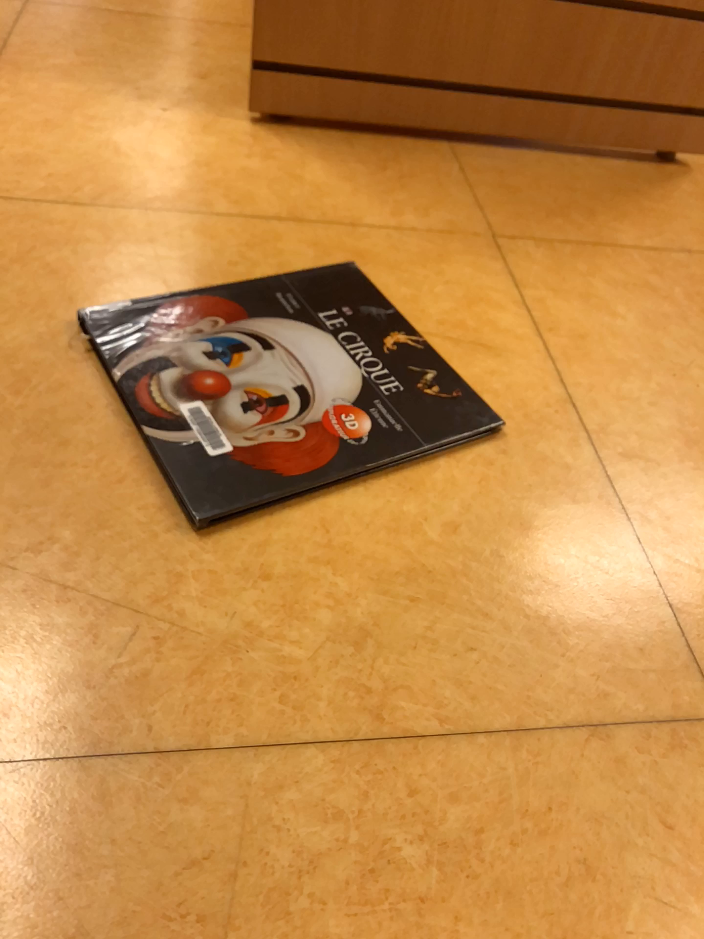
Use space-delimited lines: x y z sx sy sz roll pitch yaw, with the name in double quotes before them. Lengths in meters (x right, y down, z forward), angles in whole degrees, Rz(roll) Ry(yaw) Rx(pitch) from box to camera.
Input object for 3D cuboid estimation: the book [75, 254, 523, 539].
"book" -0.038 -0.070 0.534 0.234 0.012 0.215 -17 52 -27
